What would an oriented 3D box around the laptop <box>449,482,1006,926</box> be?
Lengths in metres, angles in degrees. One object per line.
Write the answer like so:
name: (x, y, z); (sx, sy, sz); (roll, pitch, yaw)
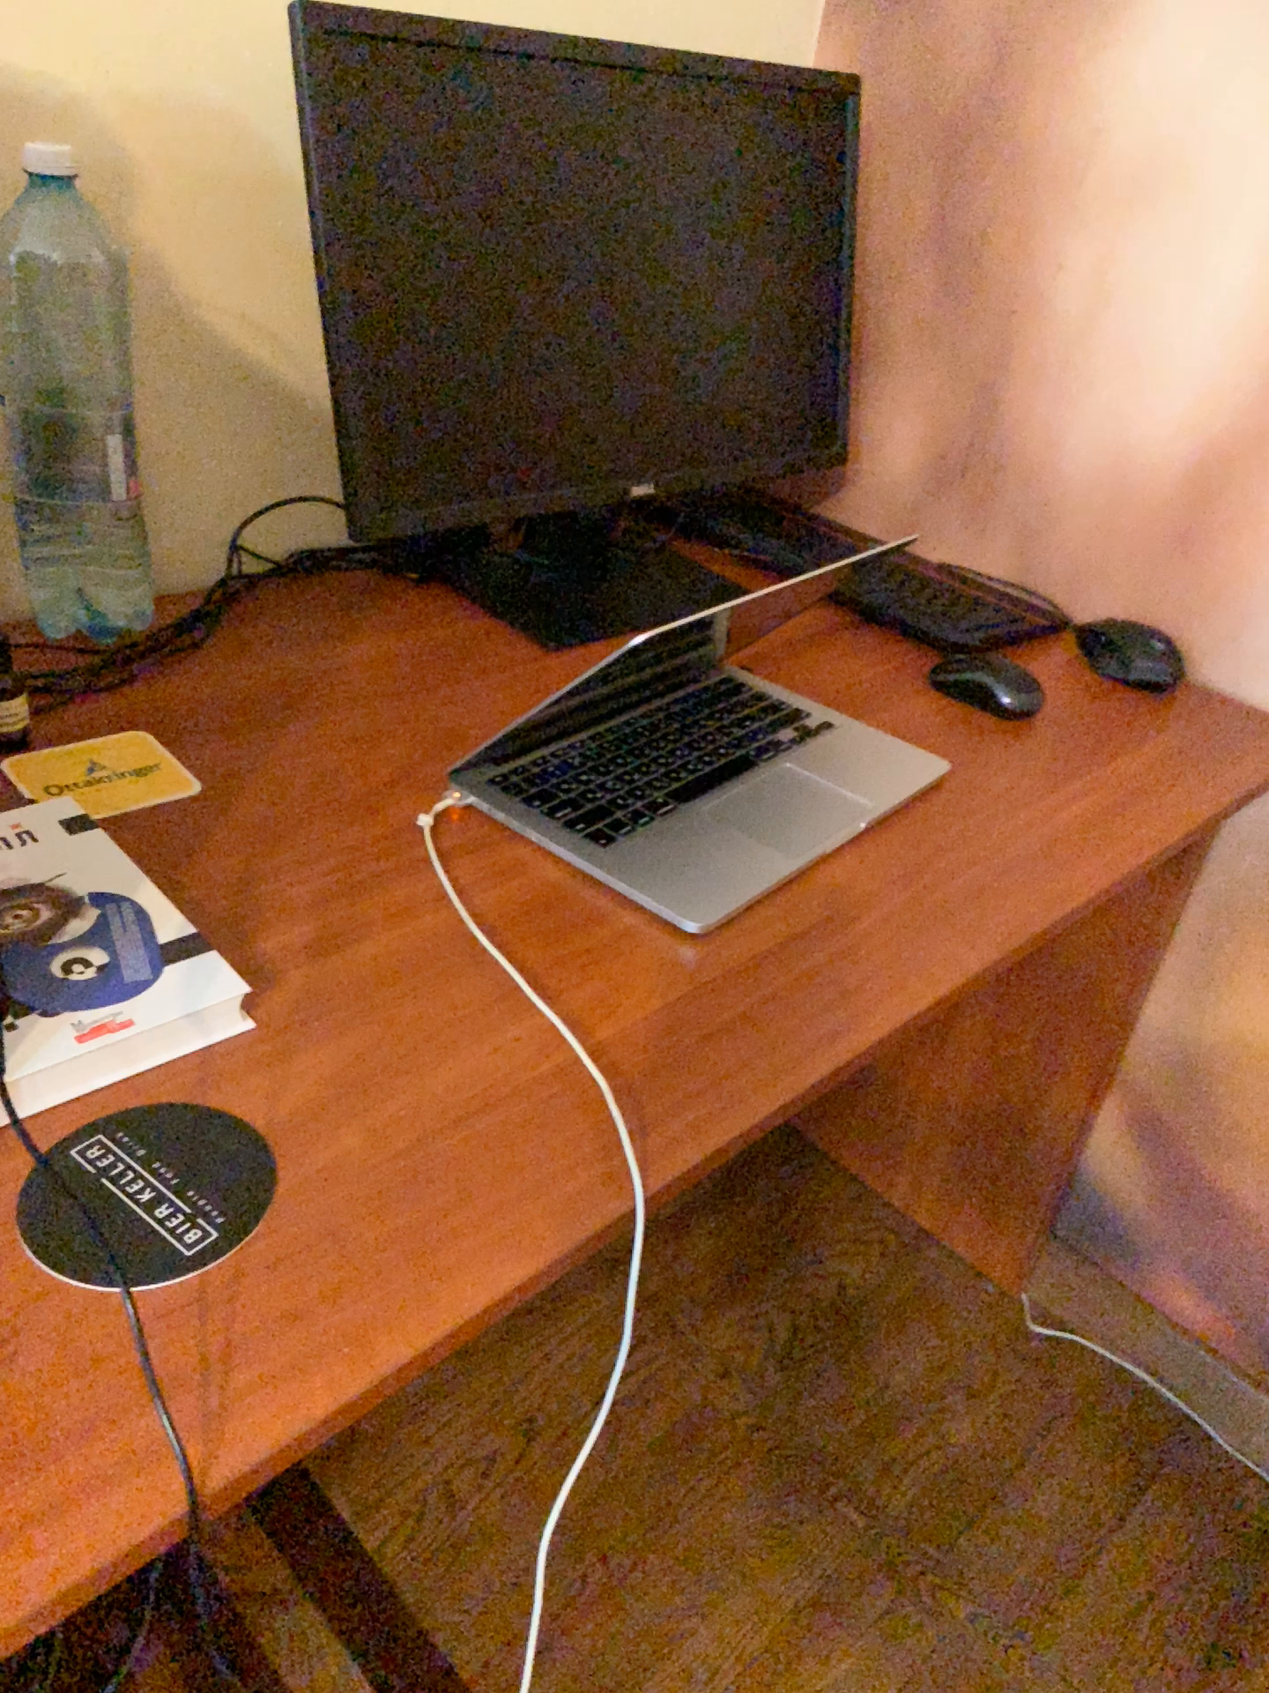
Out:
laptop: (0.065, -0.114, 0.846); (0.204, 0.148, 0.308); (29, 37, 29)
